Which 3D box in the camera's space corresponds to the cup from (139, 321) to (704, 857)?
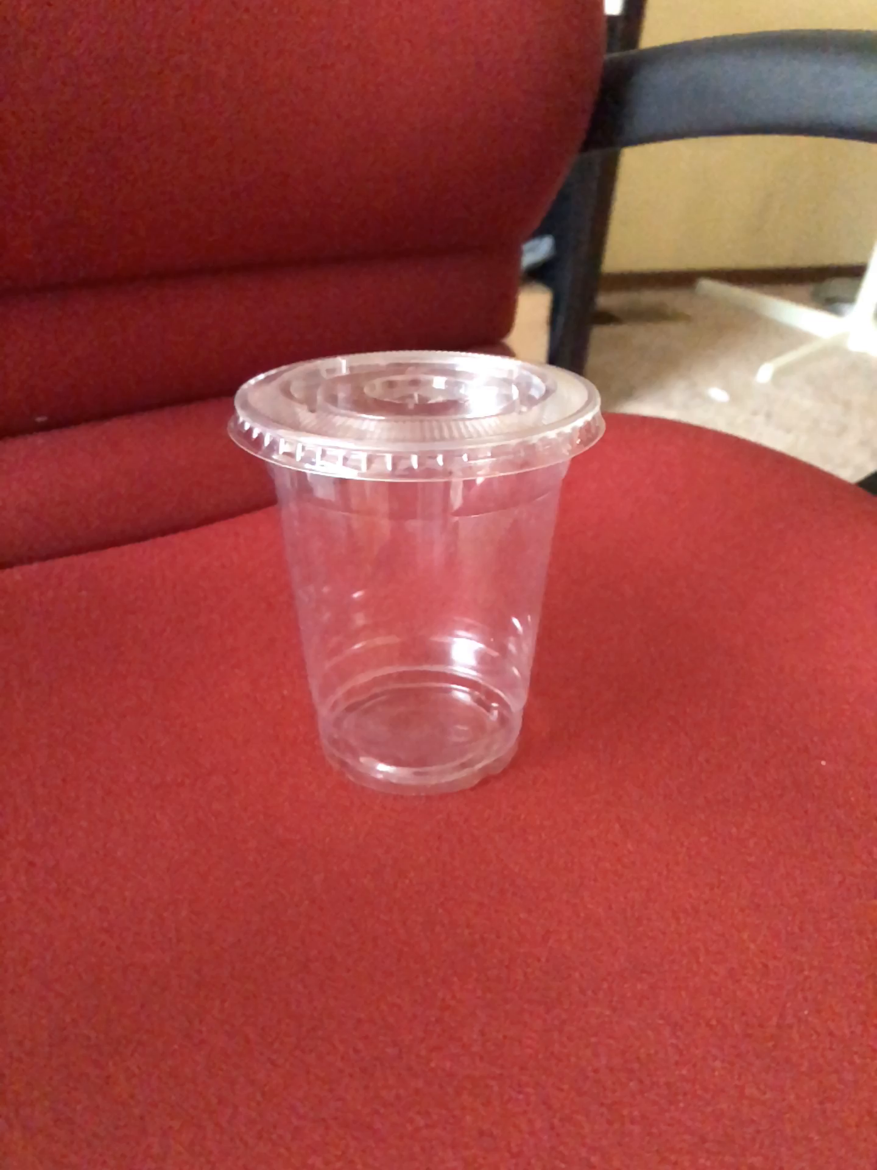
[{"bbox_3d":[-0.008,-0.011,0.257,0.100,0.090,0.100,0,25,0],"label":"cup"}]
